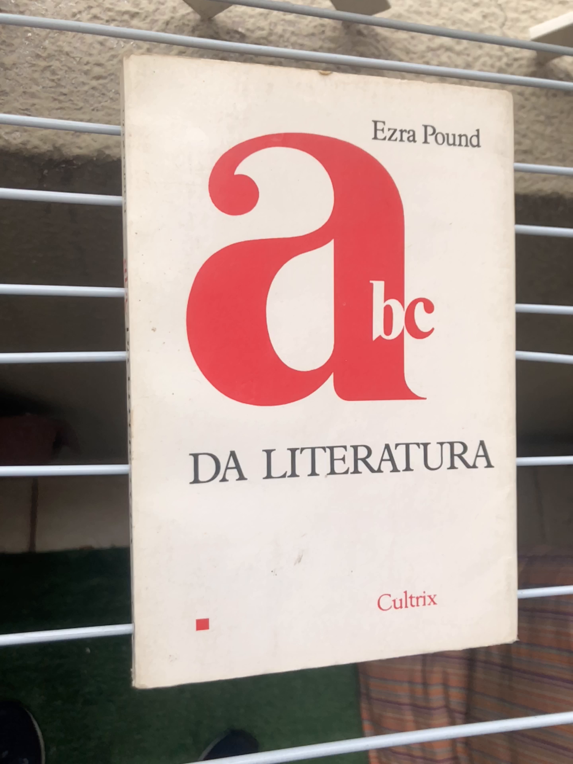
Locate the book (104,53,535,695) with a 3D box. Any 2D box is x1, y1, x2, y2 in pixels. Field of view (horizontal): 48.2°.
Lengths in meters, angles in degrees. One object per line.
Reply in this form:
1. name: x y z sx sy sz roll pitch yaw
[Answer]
1. book: 0.015 -0.002 0.212 0.140 0.017 0.187 -1 93 -14
